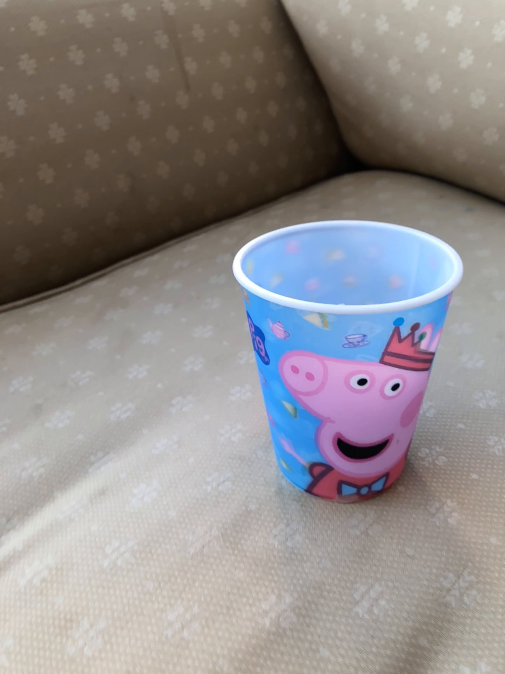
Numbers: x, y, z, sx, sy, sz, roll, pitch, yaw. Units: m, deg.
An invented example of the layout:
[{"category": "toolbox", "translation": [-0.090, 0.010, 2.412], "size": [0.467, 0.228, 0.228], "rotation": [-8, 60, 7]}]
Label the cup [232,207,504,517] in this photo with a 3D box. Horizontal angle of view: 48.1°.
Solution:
[{"category": "cup", "translation": [0.040, 0.009, 0.254], "size": [0.091, 0.100, 0.087], "rotation": [-3, 35, 2]}]
